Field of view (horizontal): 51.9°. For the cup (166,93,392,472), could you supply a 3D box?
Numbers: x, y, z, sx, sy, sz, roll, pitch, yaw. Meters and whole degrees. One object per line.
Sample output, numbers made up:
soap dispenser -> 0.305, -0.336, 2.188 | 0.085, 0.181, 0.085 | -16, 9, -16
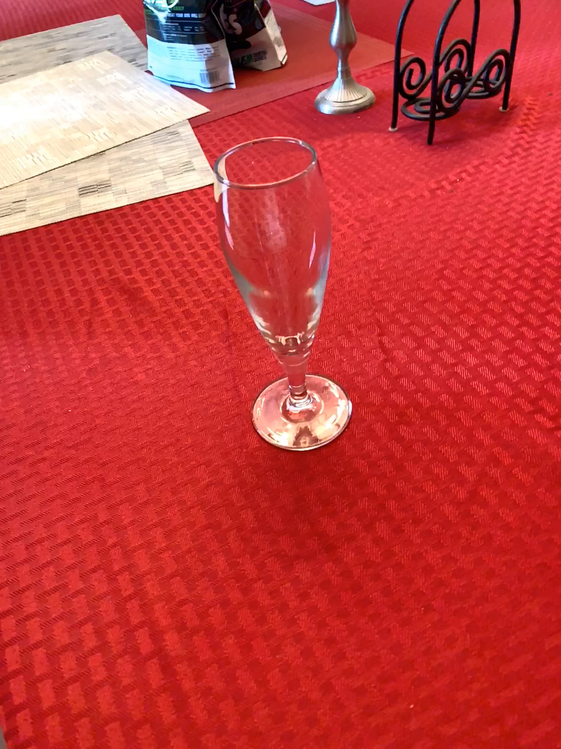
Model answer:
cup -> 0.006, -0.041, 0.320 | 0.080, 0.179, 0.080 | -5, 46, 5
